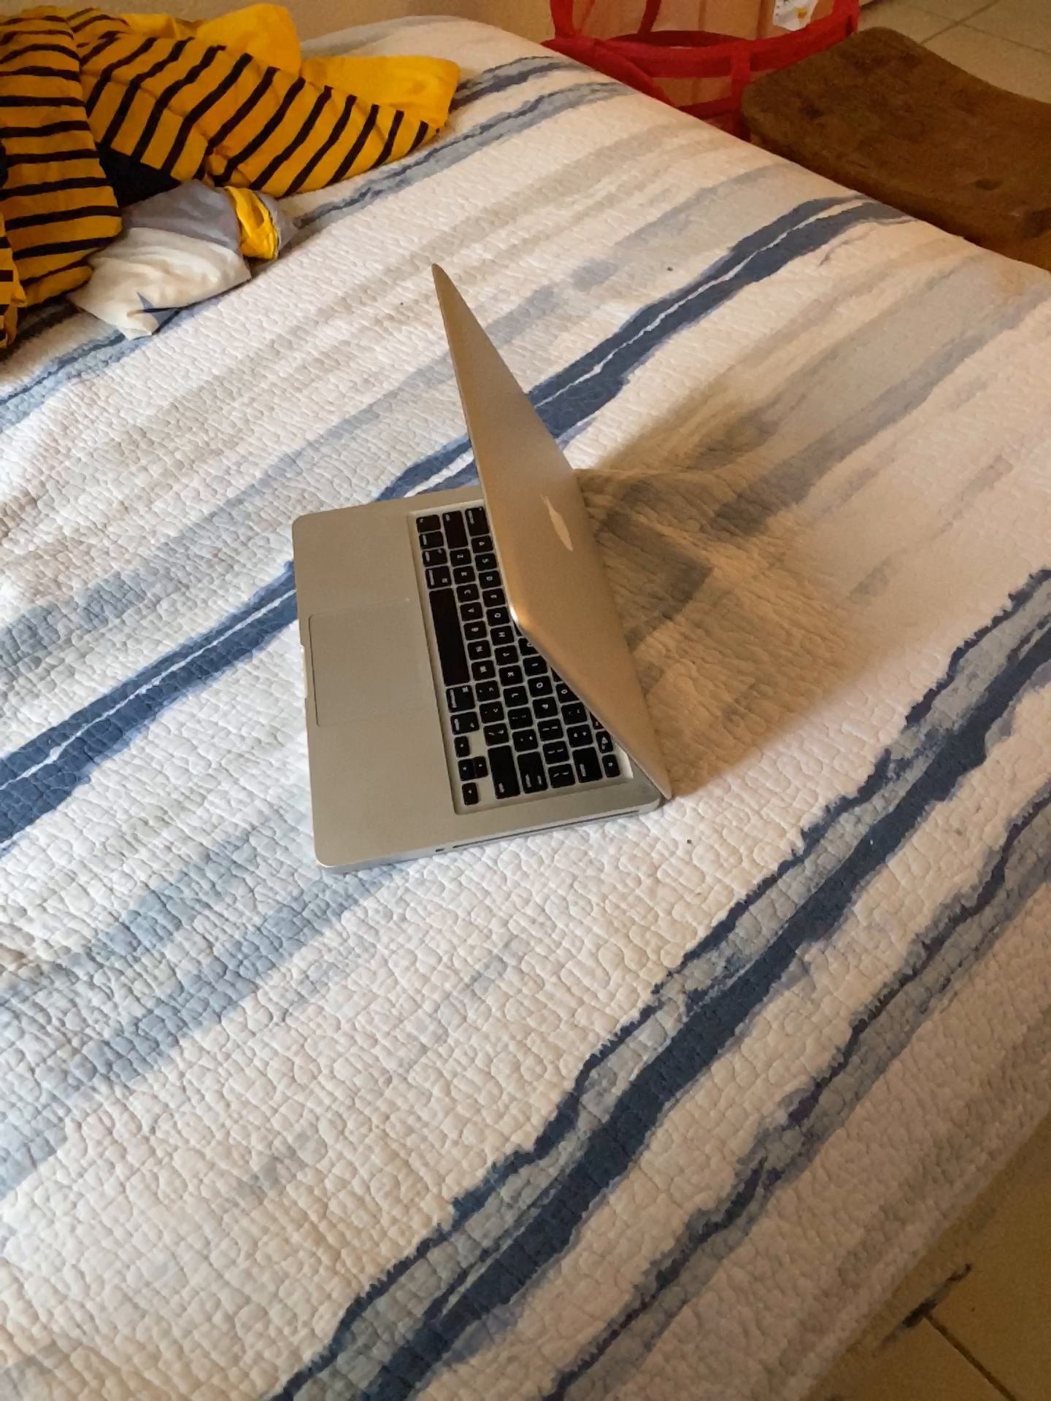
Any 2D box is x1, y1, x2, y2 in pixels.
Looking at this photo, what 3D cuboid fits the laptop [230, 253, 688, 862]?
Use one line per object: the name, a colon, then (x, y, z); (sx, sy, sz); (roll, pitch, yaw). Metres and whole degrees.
laptop: (-0.054, -0.098, 0.691); (0.220, 0.191, 0.316); (-10, 53, -3)
